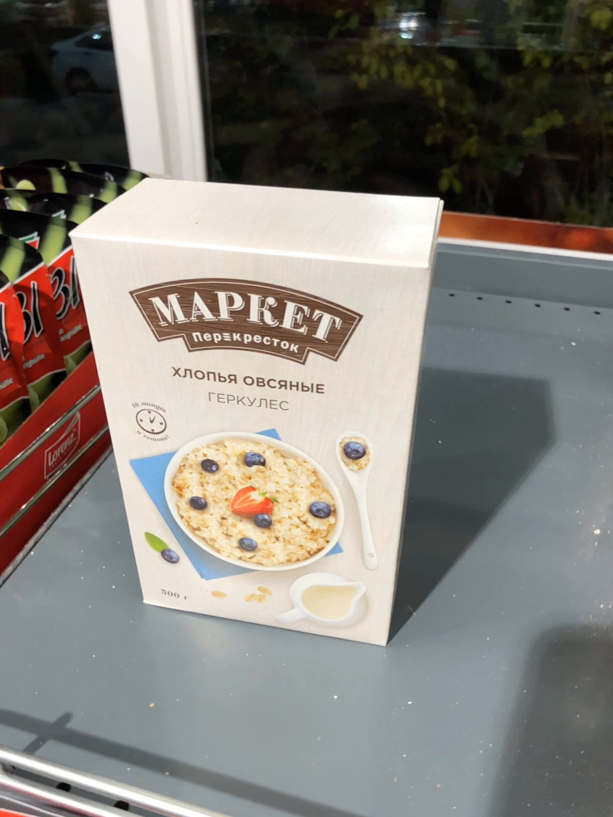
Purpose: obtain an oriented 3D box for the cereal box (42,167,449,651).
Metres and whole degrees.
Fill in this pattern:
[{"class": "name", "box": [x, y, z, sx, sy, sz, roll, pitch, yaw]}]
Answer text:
[{"class": "cereal box", "box": [-0.017, 0.006, 0.295, 0.130, 0.189, 0.070, 7, 35, 9]}]
